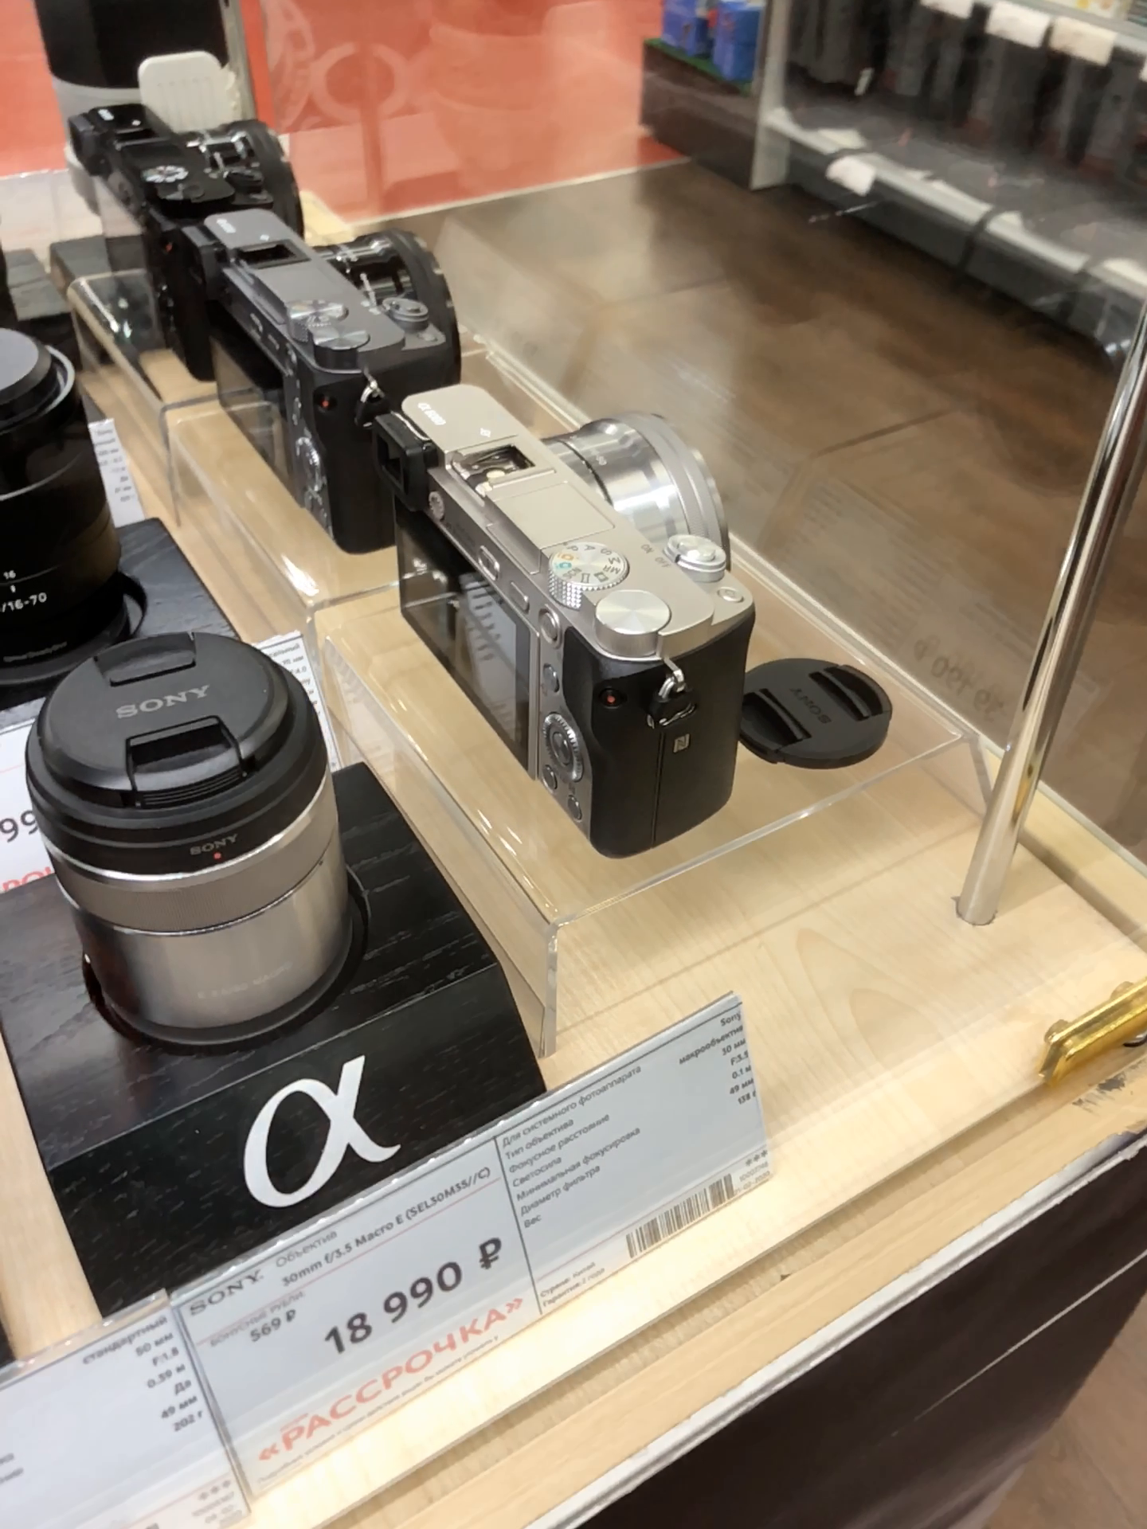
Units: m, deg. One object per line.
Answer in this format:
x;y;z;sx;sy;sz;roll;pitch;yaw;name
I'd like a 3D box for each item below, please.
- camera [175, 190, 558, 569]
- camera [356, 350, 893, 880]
-0.070;-0.133;0.421;0.076;0.061;0.128;-21;47;-22;camera
0.006;-0.045;0.326;0.076;0.061;0.124;-21;47;-22;camera
